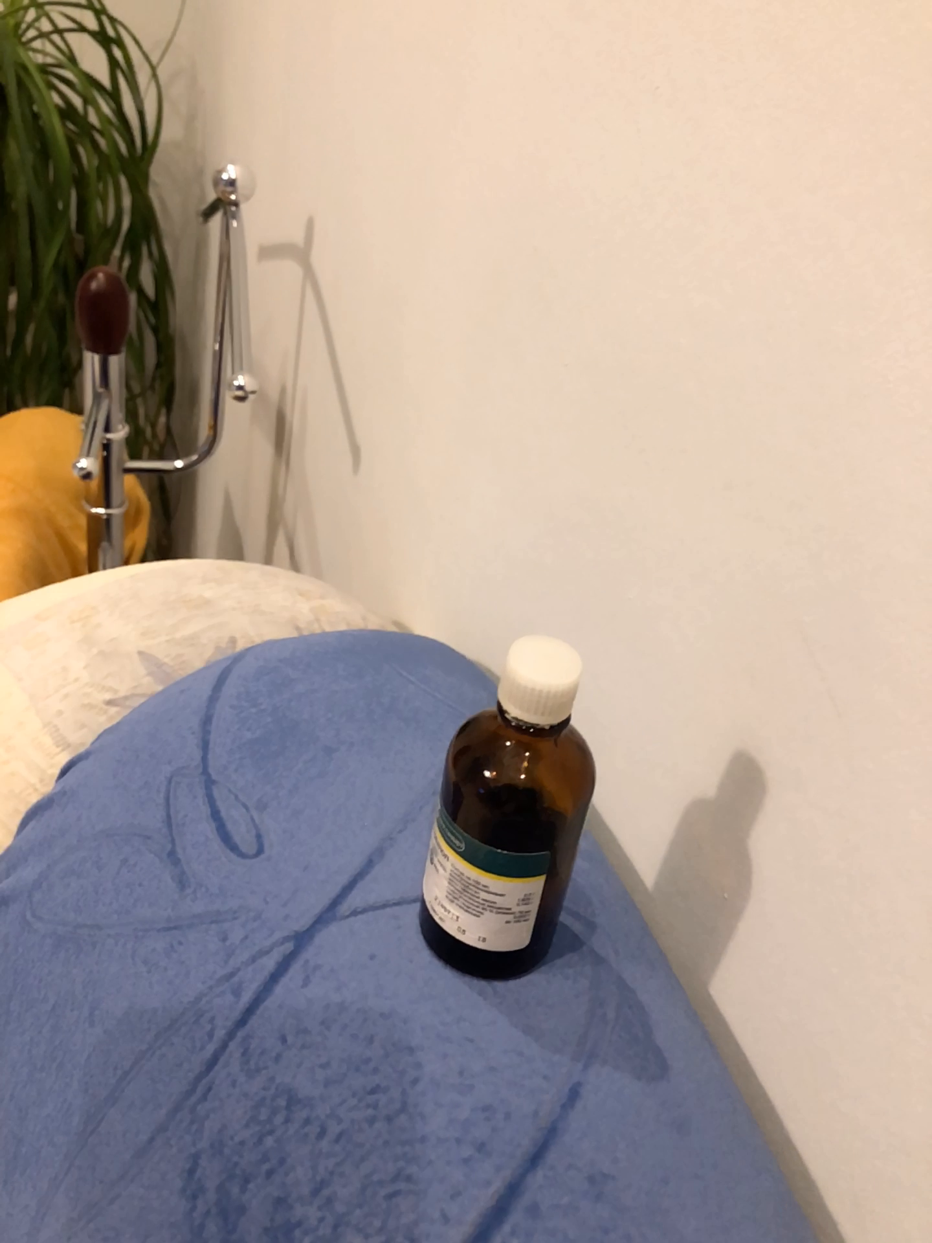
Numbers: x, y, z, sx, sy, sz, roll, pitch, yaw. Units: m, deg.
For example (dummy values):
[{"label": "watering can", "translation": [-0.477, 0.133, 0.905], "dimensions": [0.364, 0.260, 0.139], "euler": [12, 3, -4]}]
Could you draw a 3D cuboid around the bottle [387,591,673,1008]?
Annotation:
[{"label": "bottle", "translation": [0.012, 0.047, 0.268], "dimensions": [0.040, 0.099, 0.045], "euler": [-3, 36, -22]}]
